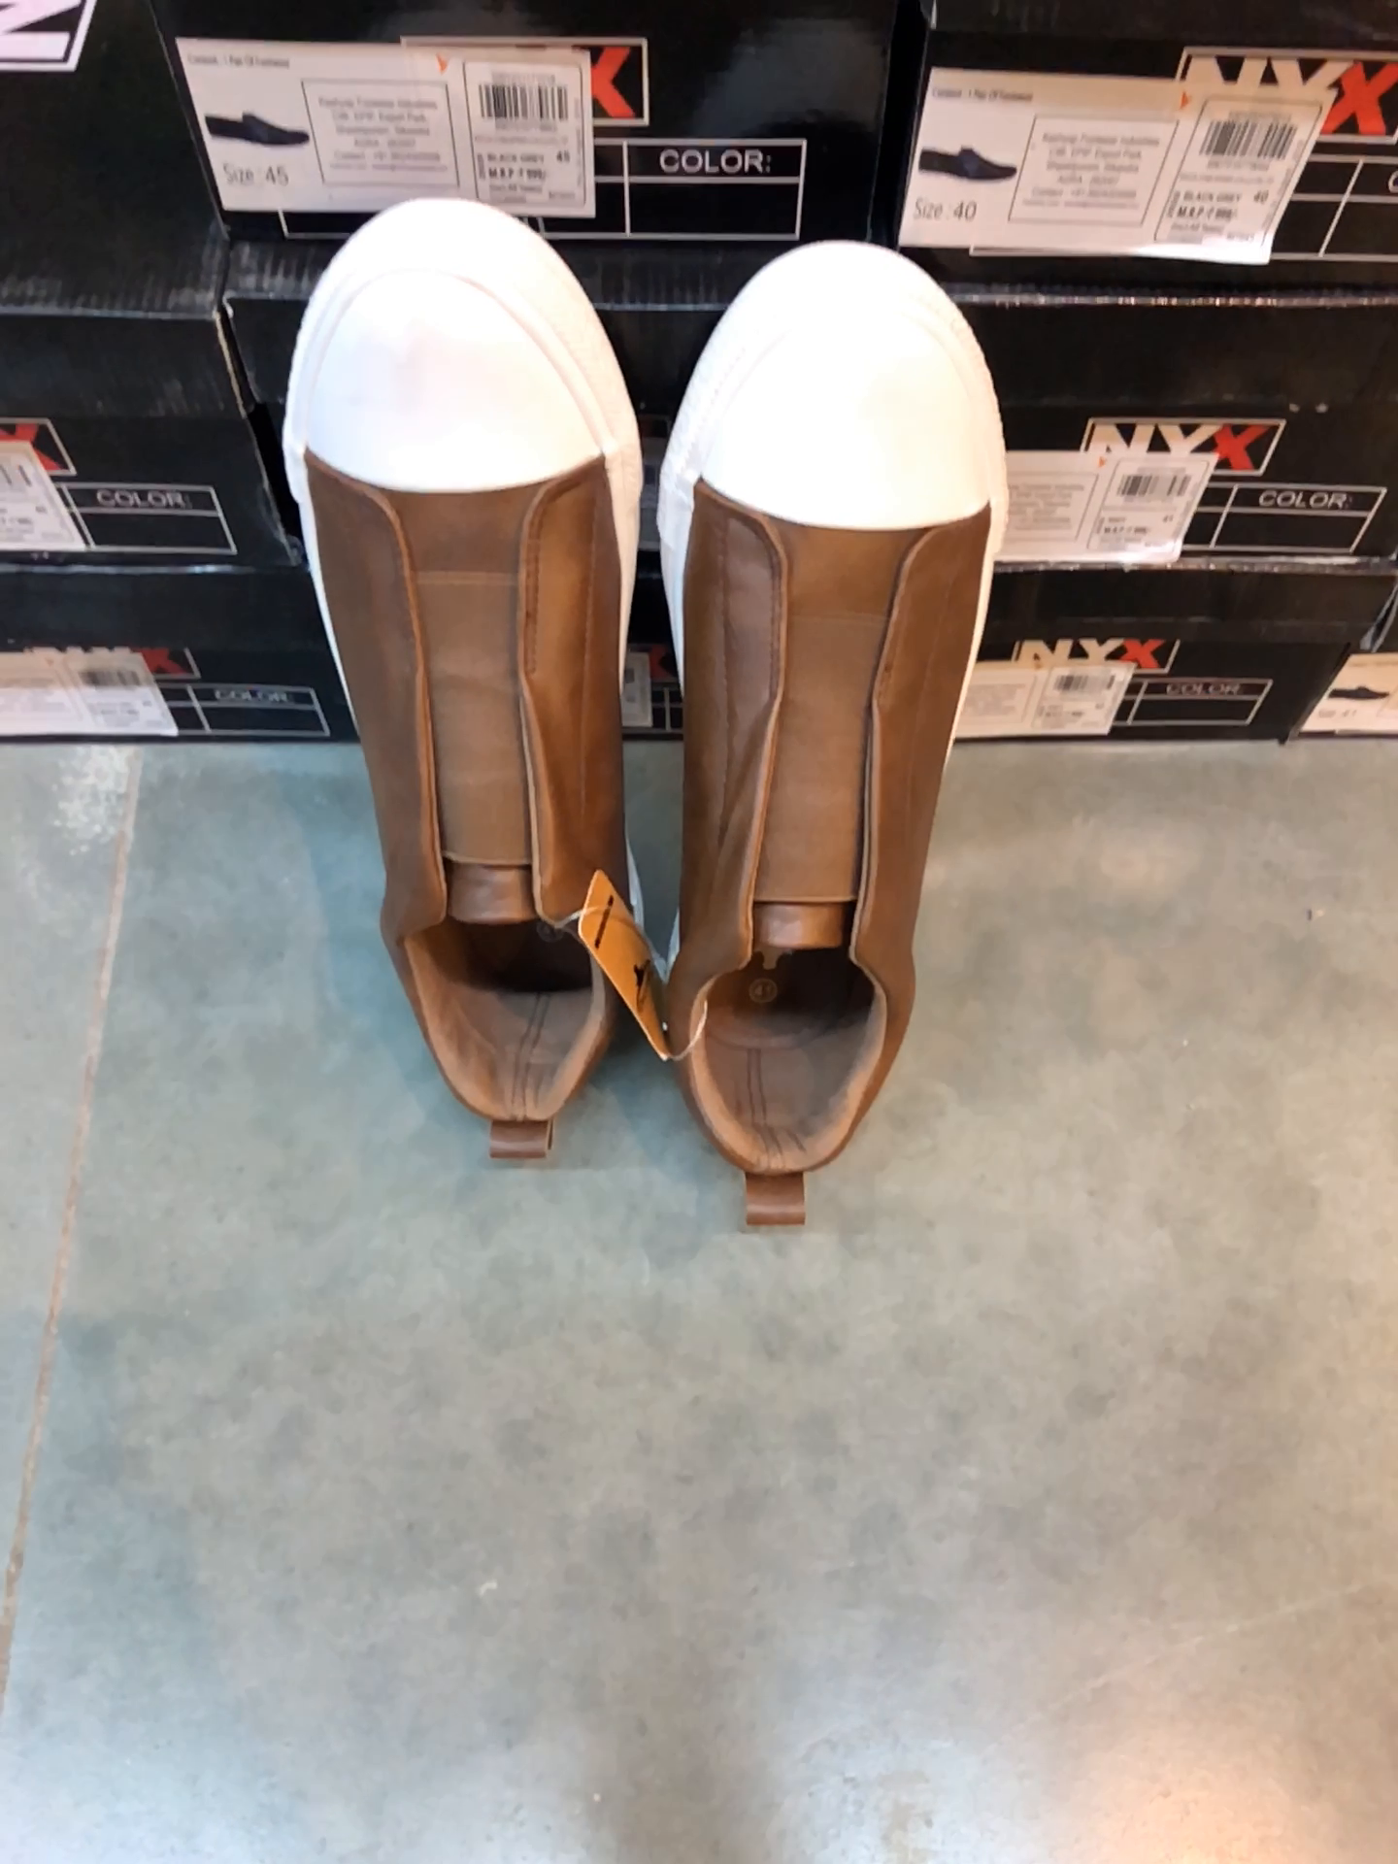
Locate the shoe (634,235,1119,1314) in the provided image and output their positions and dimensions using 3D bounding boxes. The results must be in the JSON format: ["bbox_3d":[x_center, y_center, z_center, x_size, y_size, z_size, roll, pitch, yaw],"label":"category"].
[{"bbox_3d":[0.034,-0.037,0.423,0.096,0.271,0.101,2,27,0],"label":"shoe"}]

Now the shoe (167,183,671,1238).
[{"bbox_3d":[-0.060,-0.056,0.431,0.098,0.268,0.103,-2,29,-1],"label":"shoe"}]
